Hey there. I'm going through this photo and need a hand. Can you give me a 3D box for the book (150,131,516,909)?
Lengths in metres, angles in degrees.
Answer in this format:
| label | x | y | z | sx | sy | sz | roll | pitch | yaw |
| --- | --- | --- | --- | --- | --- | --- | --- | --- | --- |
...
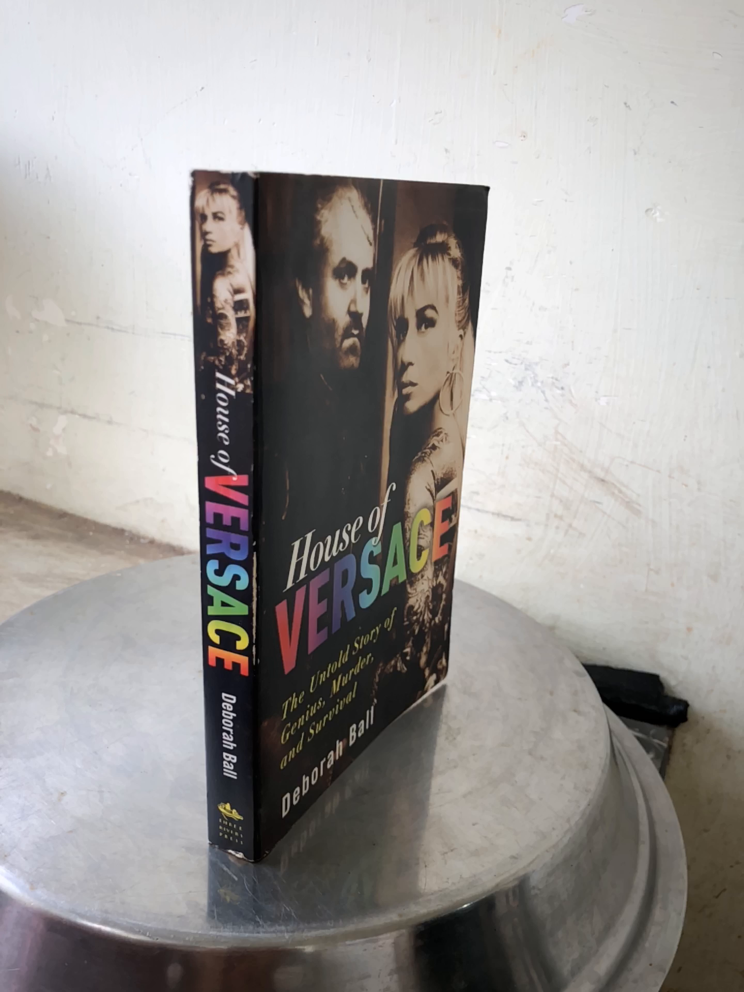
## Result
| label | x | y | z | sx | sy | sz | roll | pitch | yaw |
| --- | --- | --- | --- | --- | --- | --- | --- | --- | --- |
| book | -0.006 | -0.003 | 0.309 | 0.040 | 0.219 | 0.181 | 13 | 18 | 23 |
